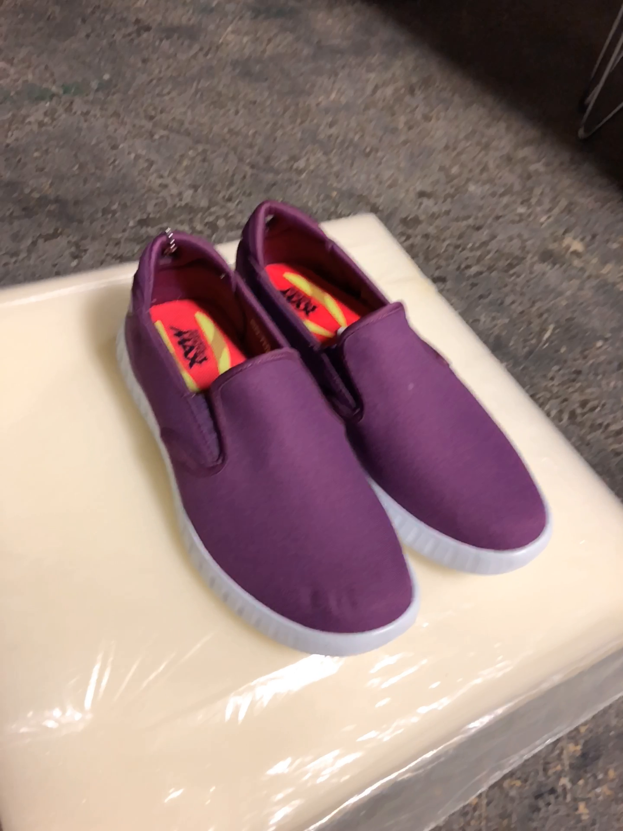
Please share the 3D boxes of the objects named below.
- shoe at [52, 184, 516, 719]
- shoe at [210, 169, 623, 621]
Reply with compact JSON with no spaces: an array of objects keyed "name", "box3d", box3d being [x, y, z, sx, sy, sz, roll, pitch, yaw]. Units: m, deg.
[{"name":"shoe","box3d":[-0.033,-0.001,0.359,0.100,0.089,0.261,-22,58,-25]},{"name":"shoe","box3d":[0.050,-0.025,0.389,0.100,0.089,0.241,-26,60,-27]}]
